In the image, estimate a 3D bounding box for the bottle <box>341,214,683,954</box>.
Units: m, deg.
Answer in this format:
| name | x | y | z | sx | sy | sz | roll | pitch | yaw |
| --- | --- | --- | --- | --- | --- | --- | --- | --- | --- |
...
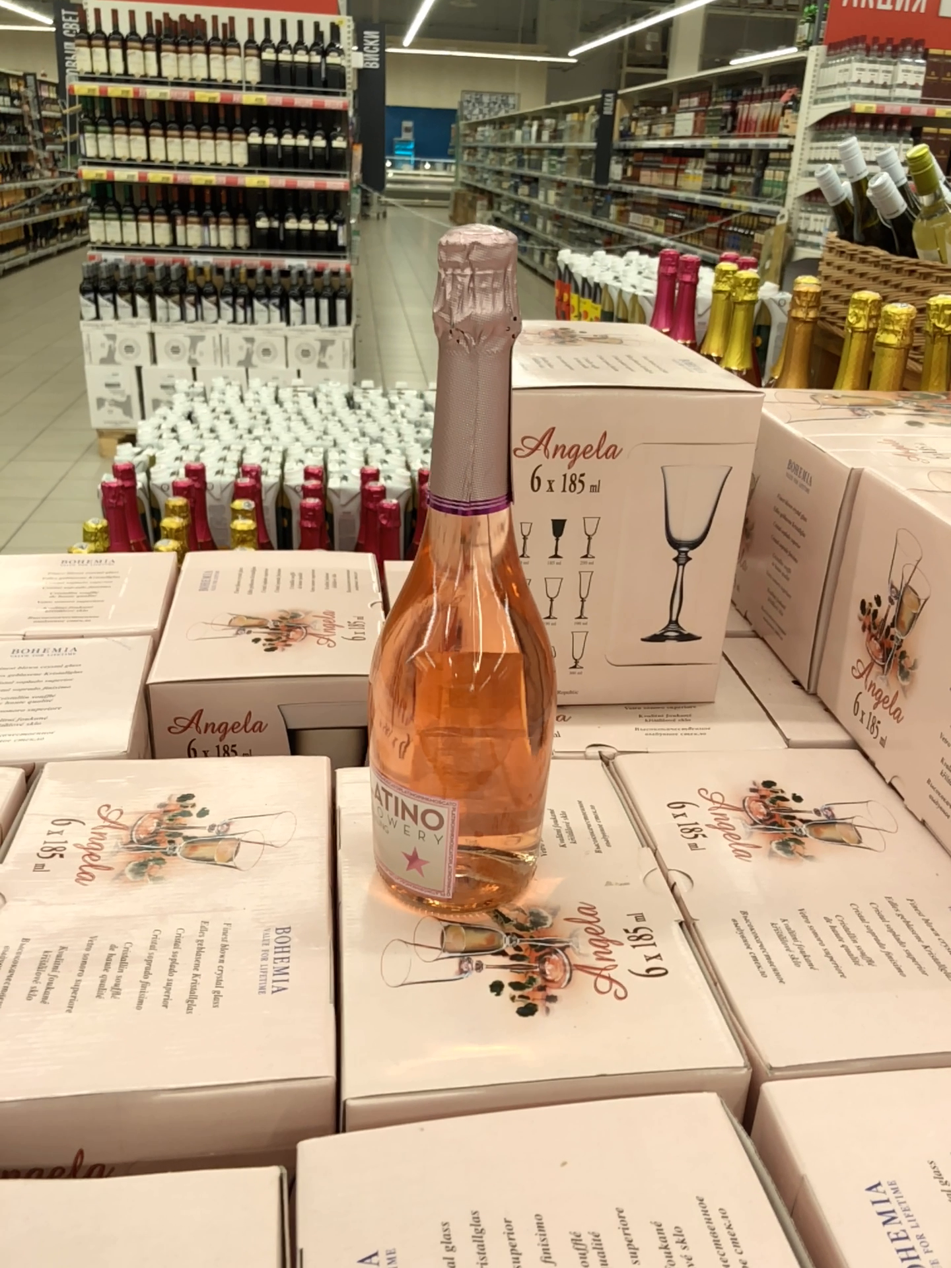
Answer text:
| name | x | y | z | sx | sy | sz | roll | pitch | yaw |
| --- | --- | --- | --- | --- | --- | --- | --- | --- | --- |
| bottle | 0.005 | -0.022 | 0.477 | 0.100 | 0.308 | 0.100 | 2 | 24 | -1 |
